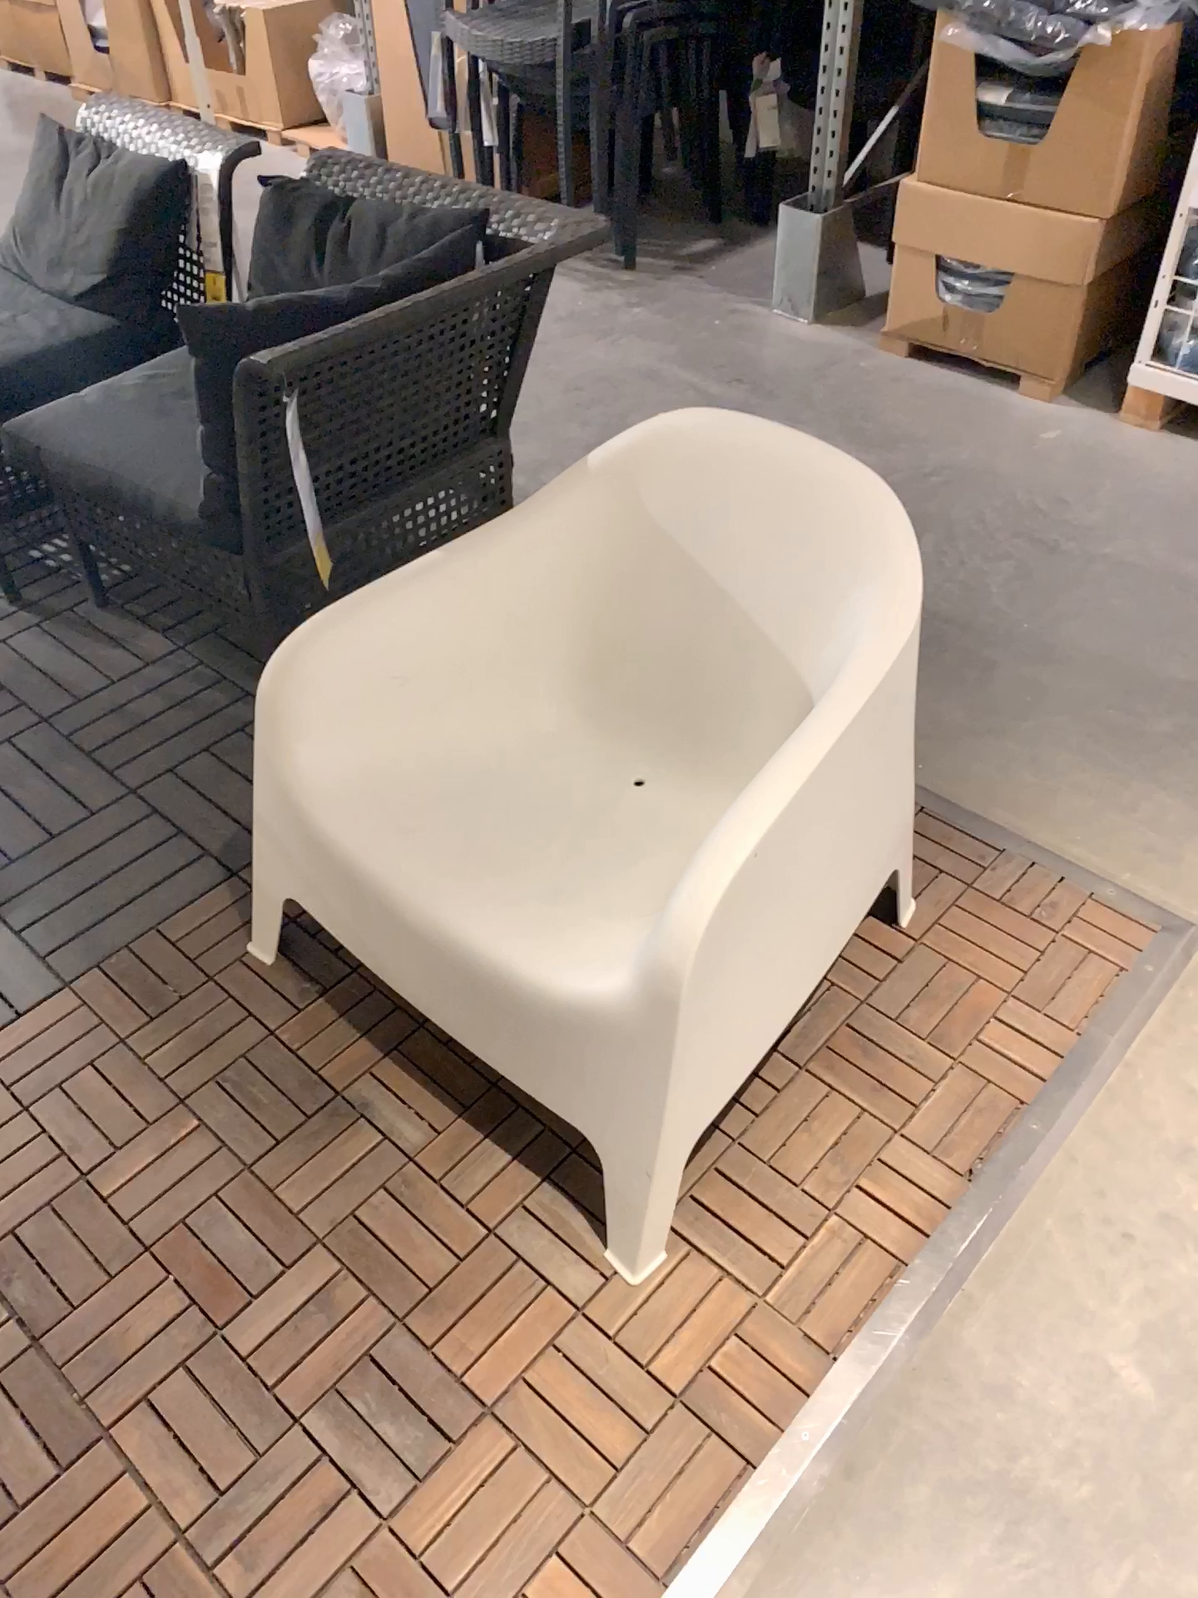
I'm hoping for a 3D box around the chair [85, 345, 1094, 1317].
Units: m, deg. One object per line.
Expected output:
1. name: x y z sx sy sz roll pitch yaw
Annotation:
1. chair: -0.004 -0.035 1.520 0.772 0.637 0.761 32 52 31
